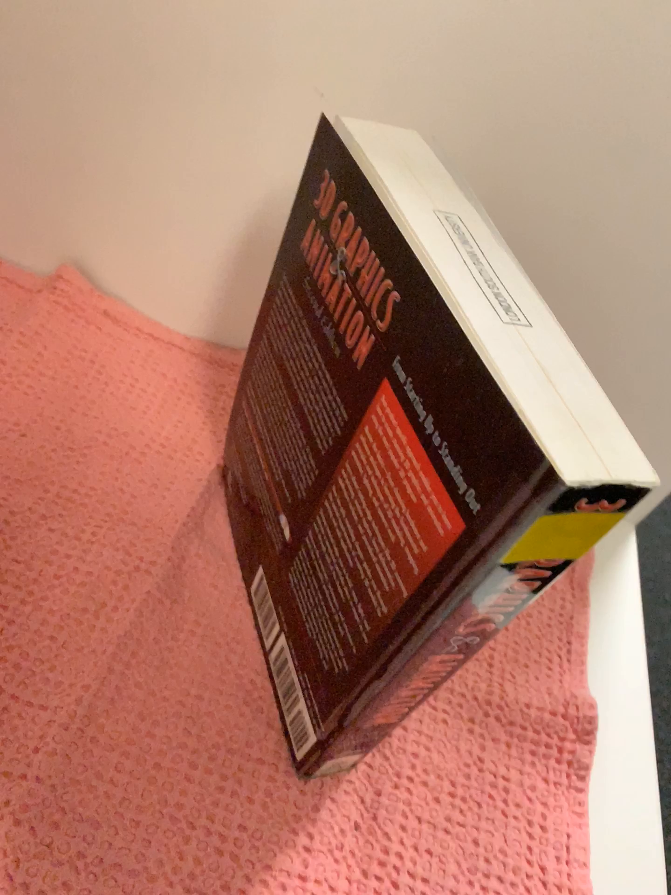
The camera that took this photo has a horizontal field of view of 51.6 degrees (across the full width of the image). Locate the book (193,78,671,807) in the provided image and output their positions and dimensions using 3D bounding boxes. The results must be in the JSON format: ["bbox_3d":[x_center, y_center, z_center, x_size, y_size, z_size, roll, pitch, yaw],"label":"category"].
[{"bbox_3d":[0.008,0.005,0.315,0.060,0.228,0.221,-2,51,-27],"label":"book"}]
